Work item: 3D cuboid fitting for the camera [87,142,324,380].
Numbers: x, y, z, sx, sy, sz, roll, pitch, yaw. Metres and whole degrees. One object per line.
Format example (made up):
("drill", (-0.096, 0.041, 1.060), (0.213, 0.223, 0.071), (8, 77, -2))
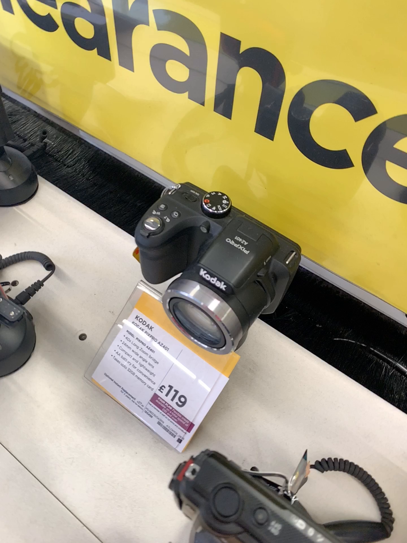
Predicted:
("camera", (-0.001, -0.009, 0.317), (0.130, 0.099, 0.090), (31, 58, 17))
